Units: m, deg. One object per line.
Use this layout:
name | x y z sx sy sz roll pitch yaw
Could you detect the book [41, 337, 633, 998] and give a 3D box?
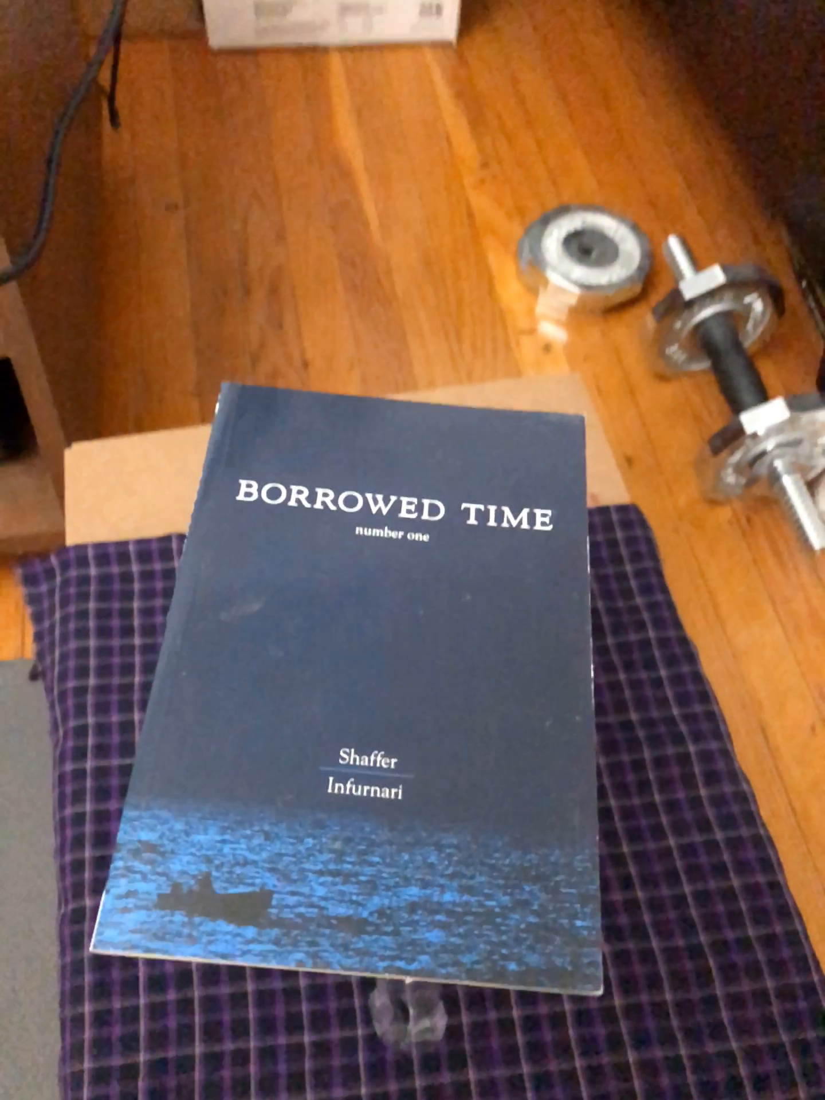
book | -0.012 0.019 0.314 0.160 0.010 0.231 5 57 -1
